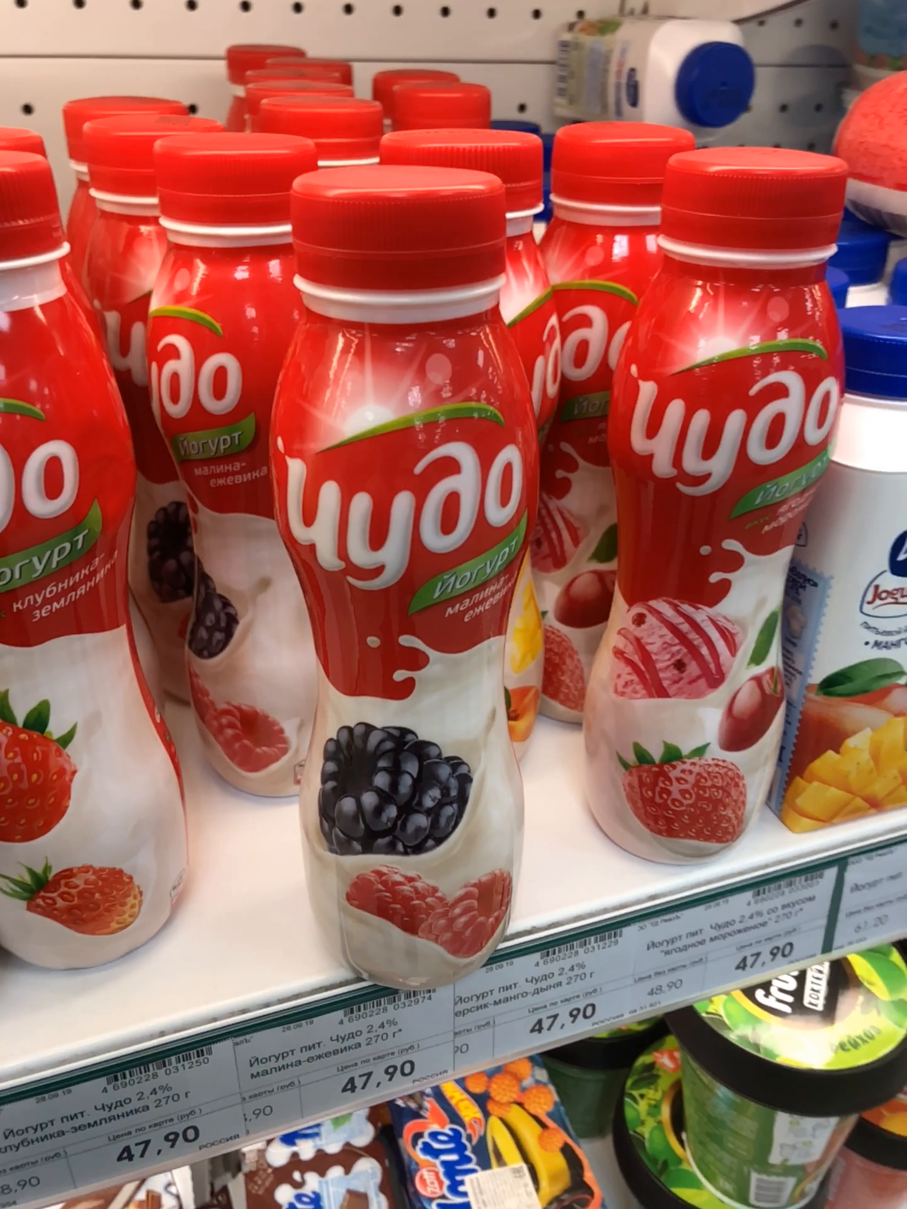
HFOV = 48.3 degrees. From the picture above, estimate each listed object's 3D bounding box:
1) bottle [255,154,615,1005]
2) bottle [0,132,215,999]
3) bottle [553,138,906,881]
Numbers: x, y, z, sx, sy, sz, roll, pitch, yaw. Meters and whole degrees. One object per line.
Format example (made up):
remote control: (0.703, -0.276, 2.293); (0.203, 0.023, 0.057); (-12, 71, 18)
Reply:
bottle: (-0.008, 0.002, 0.224); (0.054, 0.181, 0.050); (1, 30, -1)
bottle: (-0.092, -0.001, 0.222); (0.054, 0.181, 0.050); (1, 30, -1)
bottle: (0.066, -0.018, 0.262); (0.054, 0.181, 0.050); (1, 30, -1)
